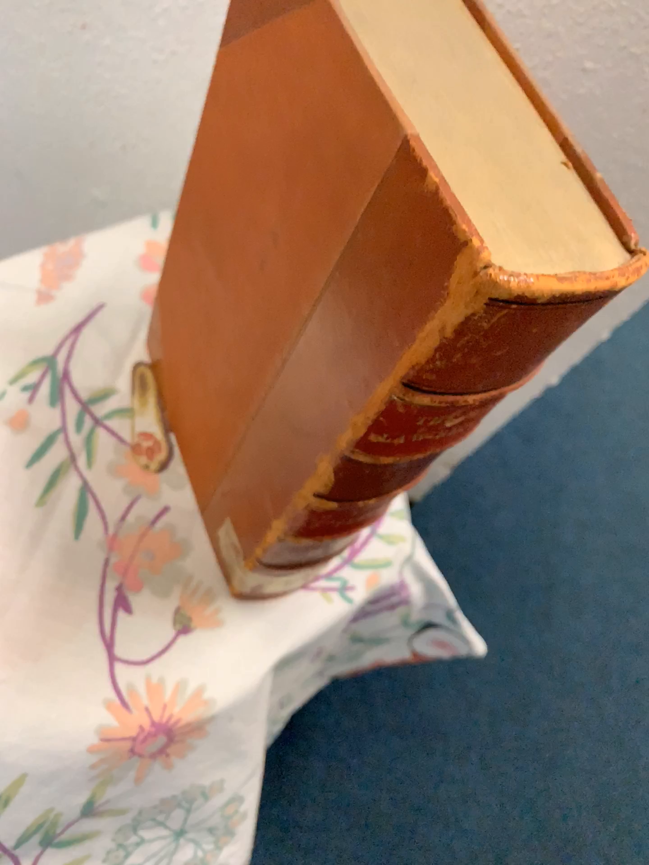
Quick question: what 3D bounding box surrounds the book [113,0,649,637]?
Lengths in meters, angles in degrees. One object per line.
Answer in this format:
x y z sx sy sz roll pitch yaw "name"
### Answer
-0.009 -0.050 0.280 0.070 0.248 0.191 -10 65 -31 "book"
